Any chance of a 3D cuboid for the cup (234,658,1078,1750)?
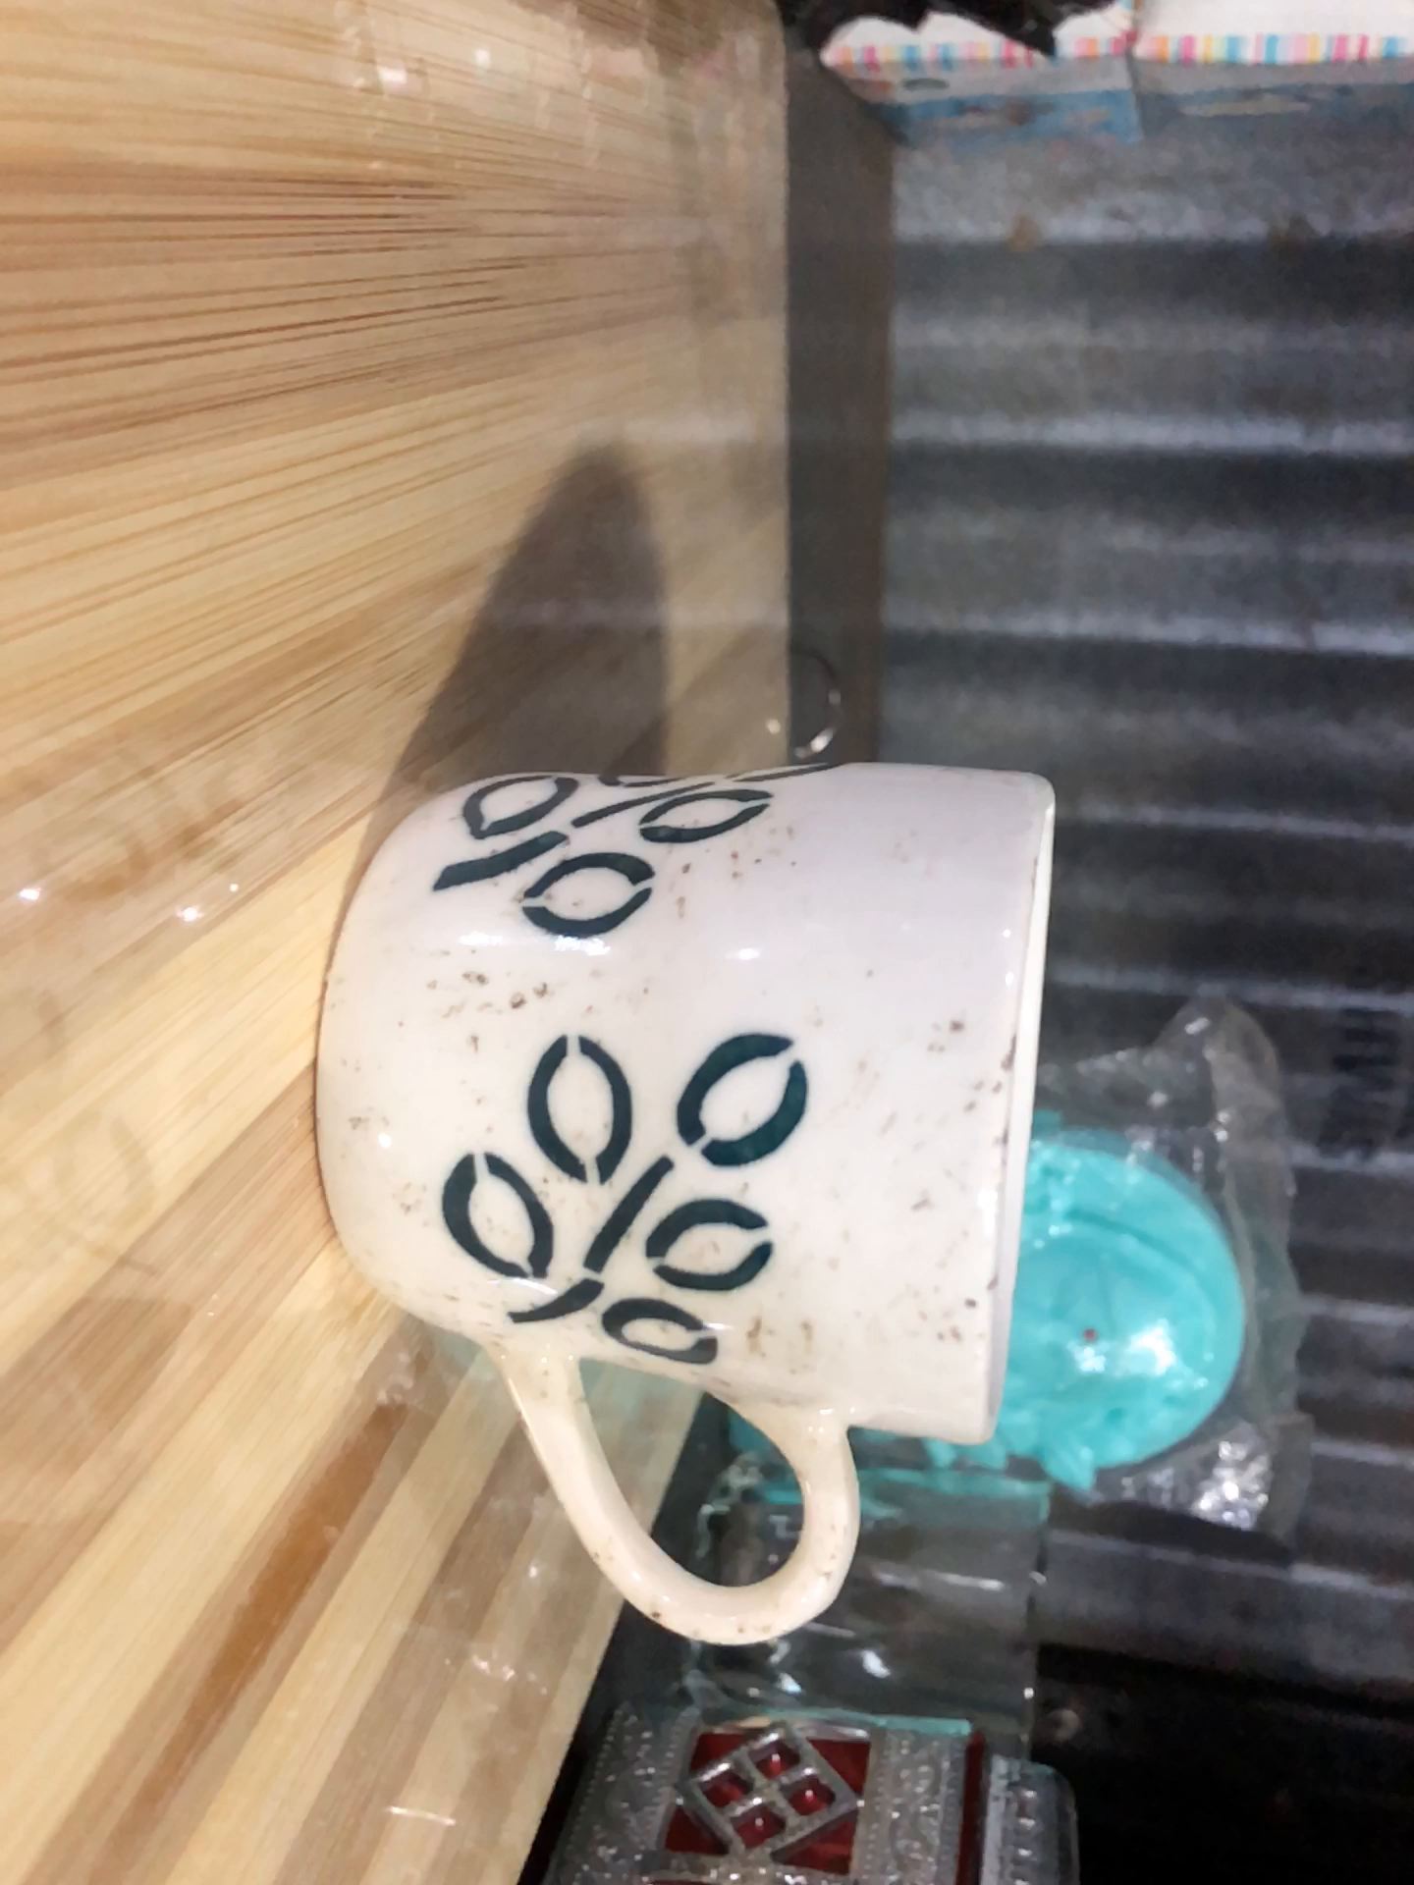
[{"bbox_3d":[0.002,0.022,0.181,0.080,0.070,0.090,10,85,-78],"label":"cup"}]
